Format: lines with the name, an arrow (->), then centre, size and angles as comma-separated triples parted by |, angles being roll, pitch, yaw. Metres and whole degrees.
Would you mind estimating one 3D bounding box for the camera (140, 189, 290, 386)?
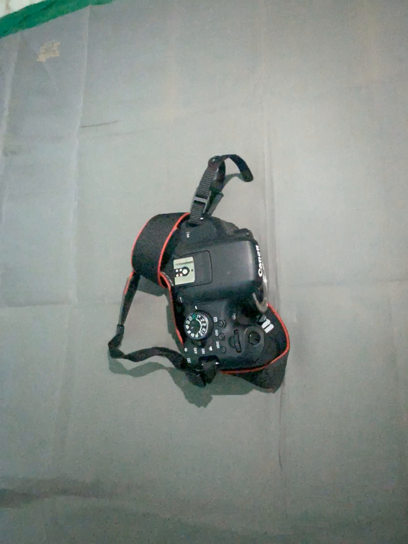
camera -> 0.011, 0.020, 0.341 | 0.090, 0.088, 0.132 | -9, 74, 16
